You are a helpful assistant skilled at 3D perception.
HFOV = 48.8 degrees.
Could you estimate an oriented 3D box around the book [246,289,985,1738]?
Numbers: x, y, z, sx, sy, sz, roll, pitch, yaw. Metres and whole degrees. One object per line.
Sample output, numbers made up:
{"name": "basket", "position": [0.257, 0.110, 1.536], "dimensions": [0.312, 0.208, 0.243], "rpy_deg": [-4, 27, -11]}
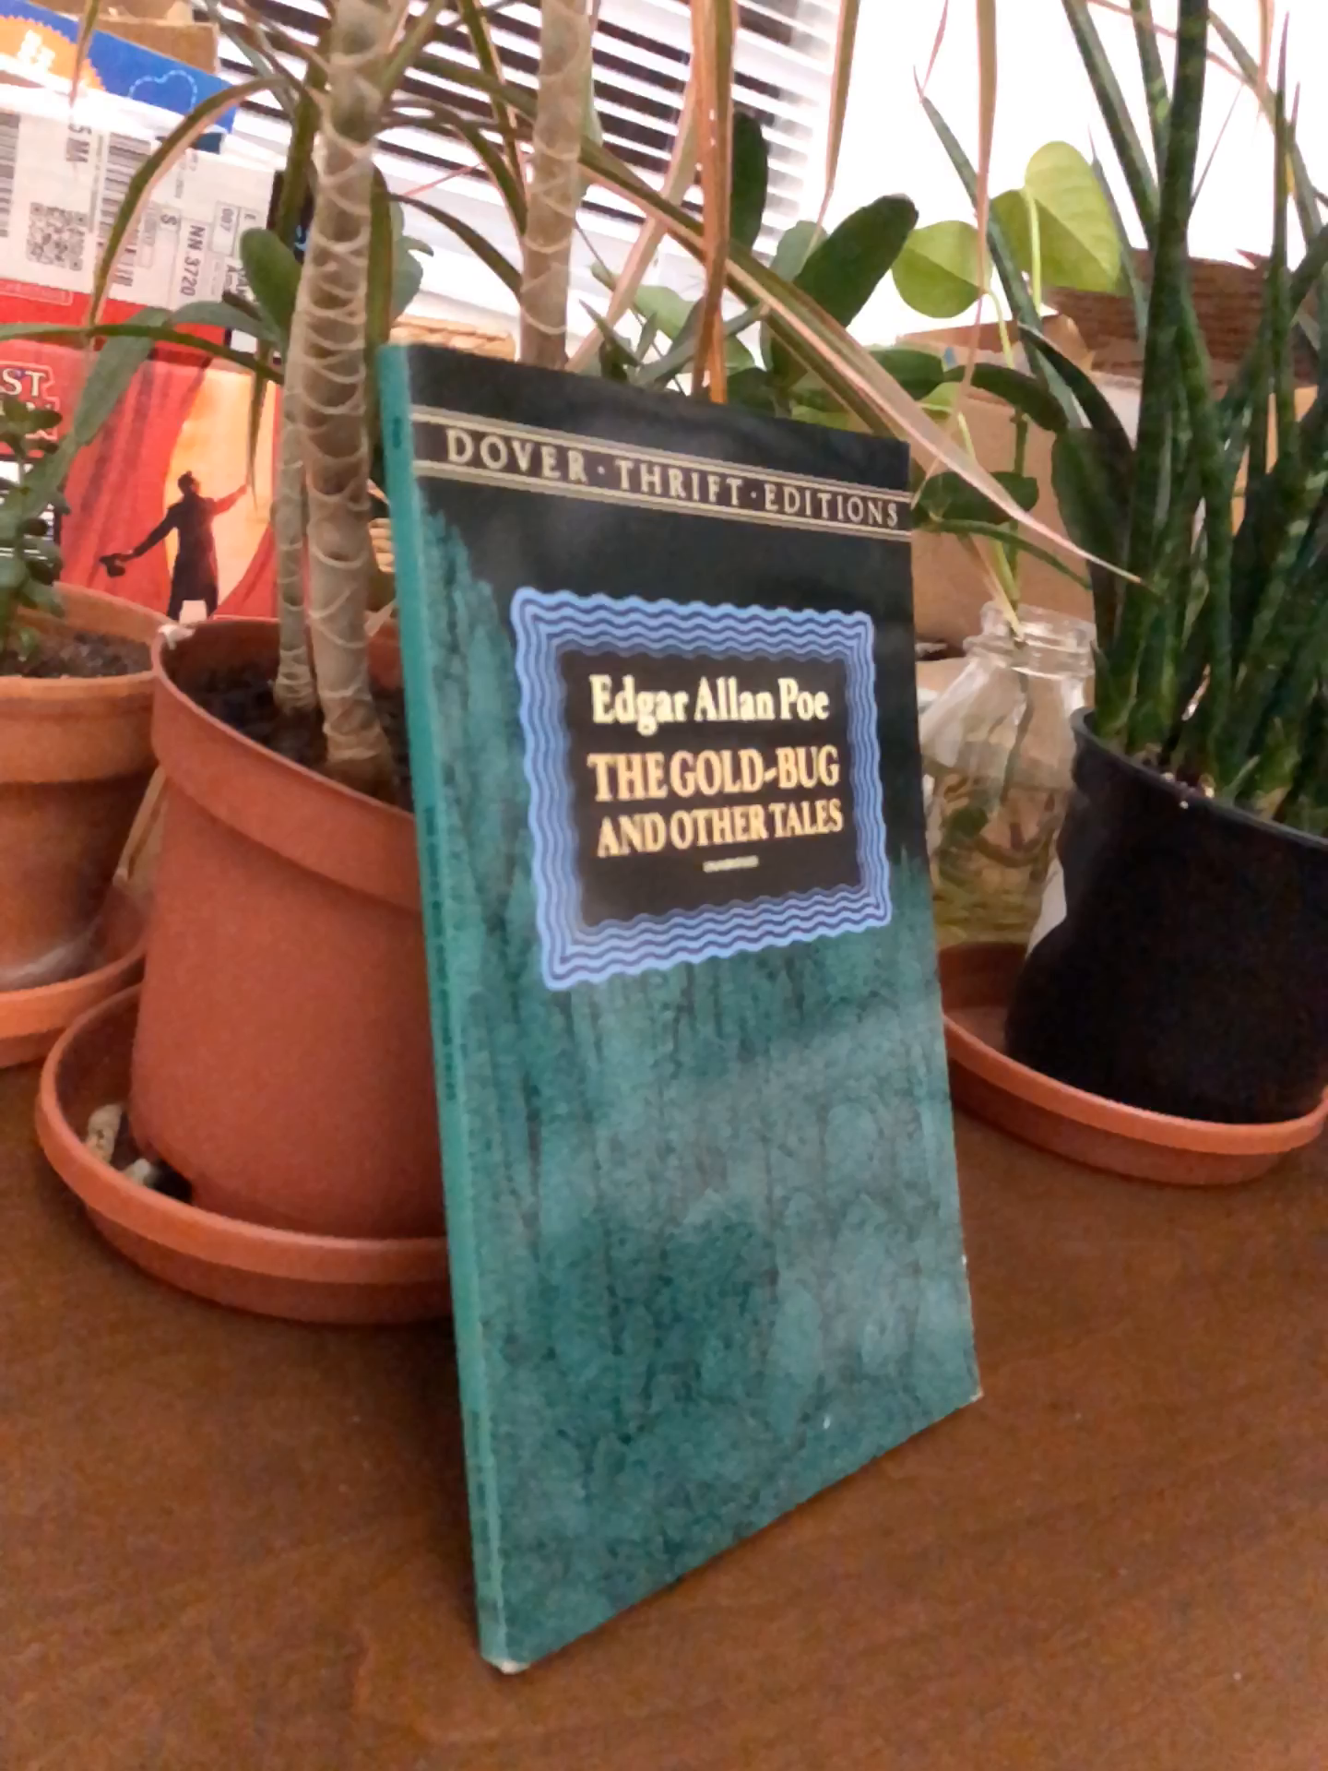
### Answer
{"name": "book", "position": [0.003, 0.014, 0.267], "dimensions": [0.140, 0.210, 0.020], "rpy_deg": [-7, 3, -45]}
